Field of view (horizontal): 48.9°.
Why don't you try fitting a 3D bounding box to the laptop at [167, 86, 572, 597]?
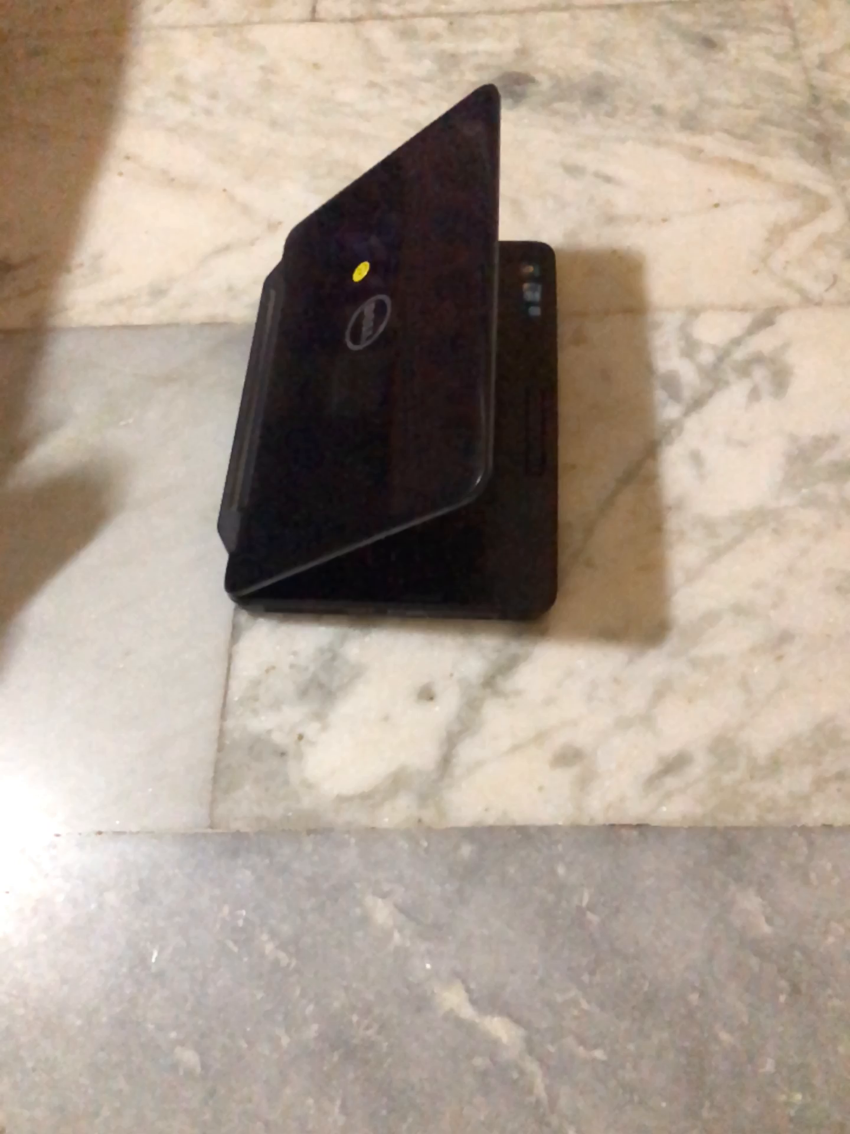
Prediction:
[{"bbox_3d":[-0.023,-0.169,0.693,0.234,0.161,0.352,0,60,5],"label":"laptop"}]
